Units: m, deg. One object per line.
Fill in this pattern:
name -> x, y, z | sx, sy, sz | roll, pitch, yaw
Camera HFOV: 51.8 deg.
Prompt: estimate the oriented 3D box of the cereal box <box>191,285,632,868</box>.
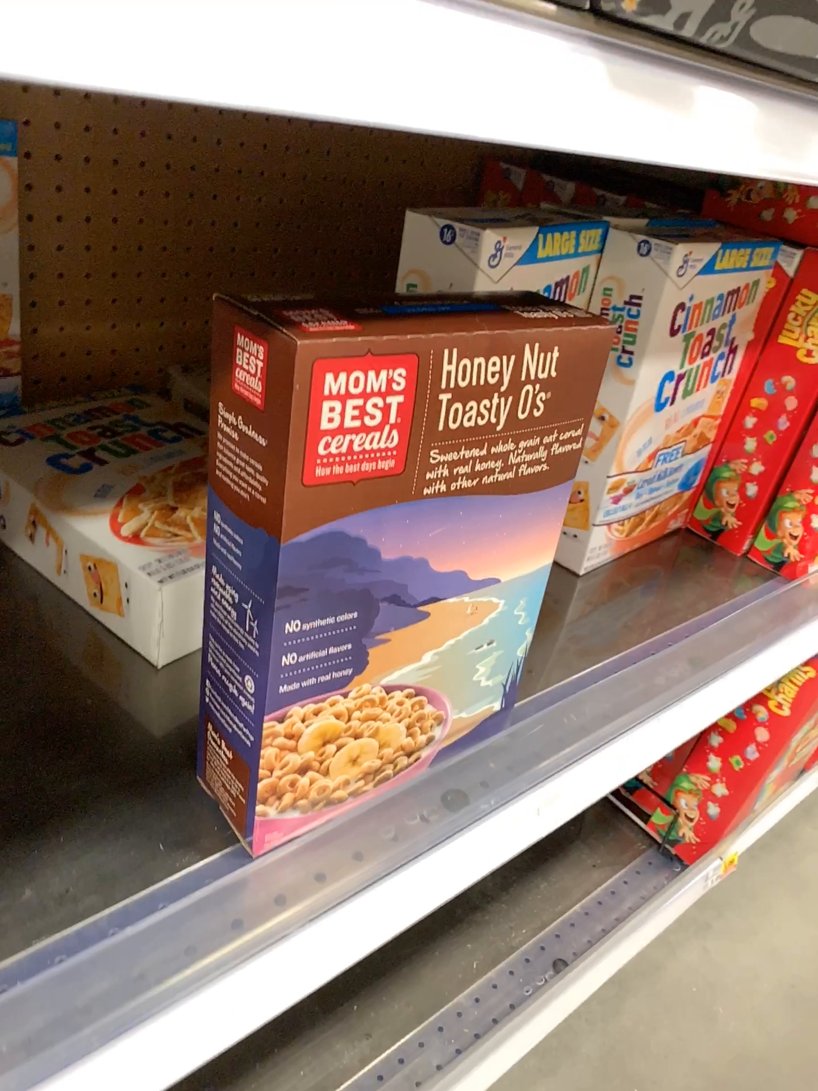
cereal box -> -0.006, 0.010, 0.457 | 0.201, 0.279, 0.070 | -14, 36, -38
